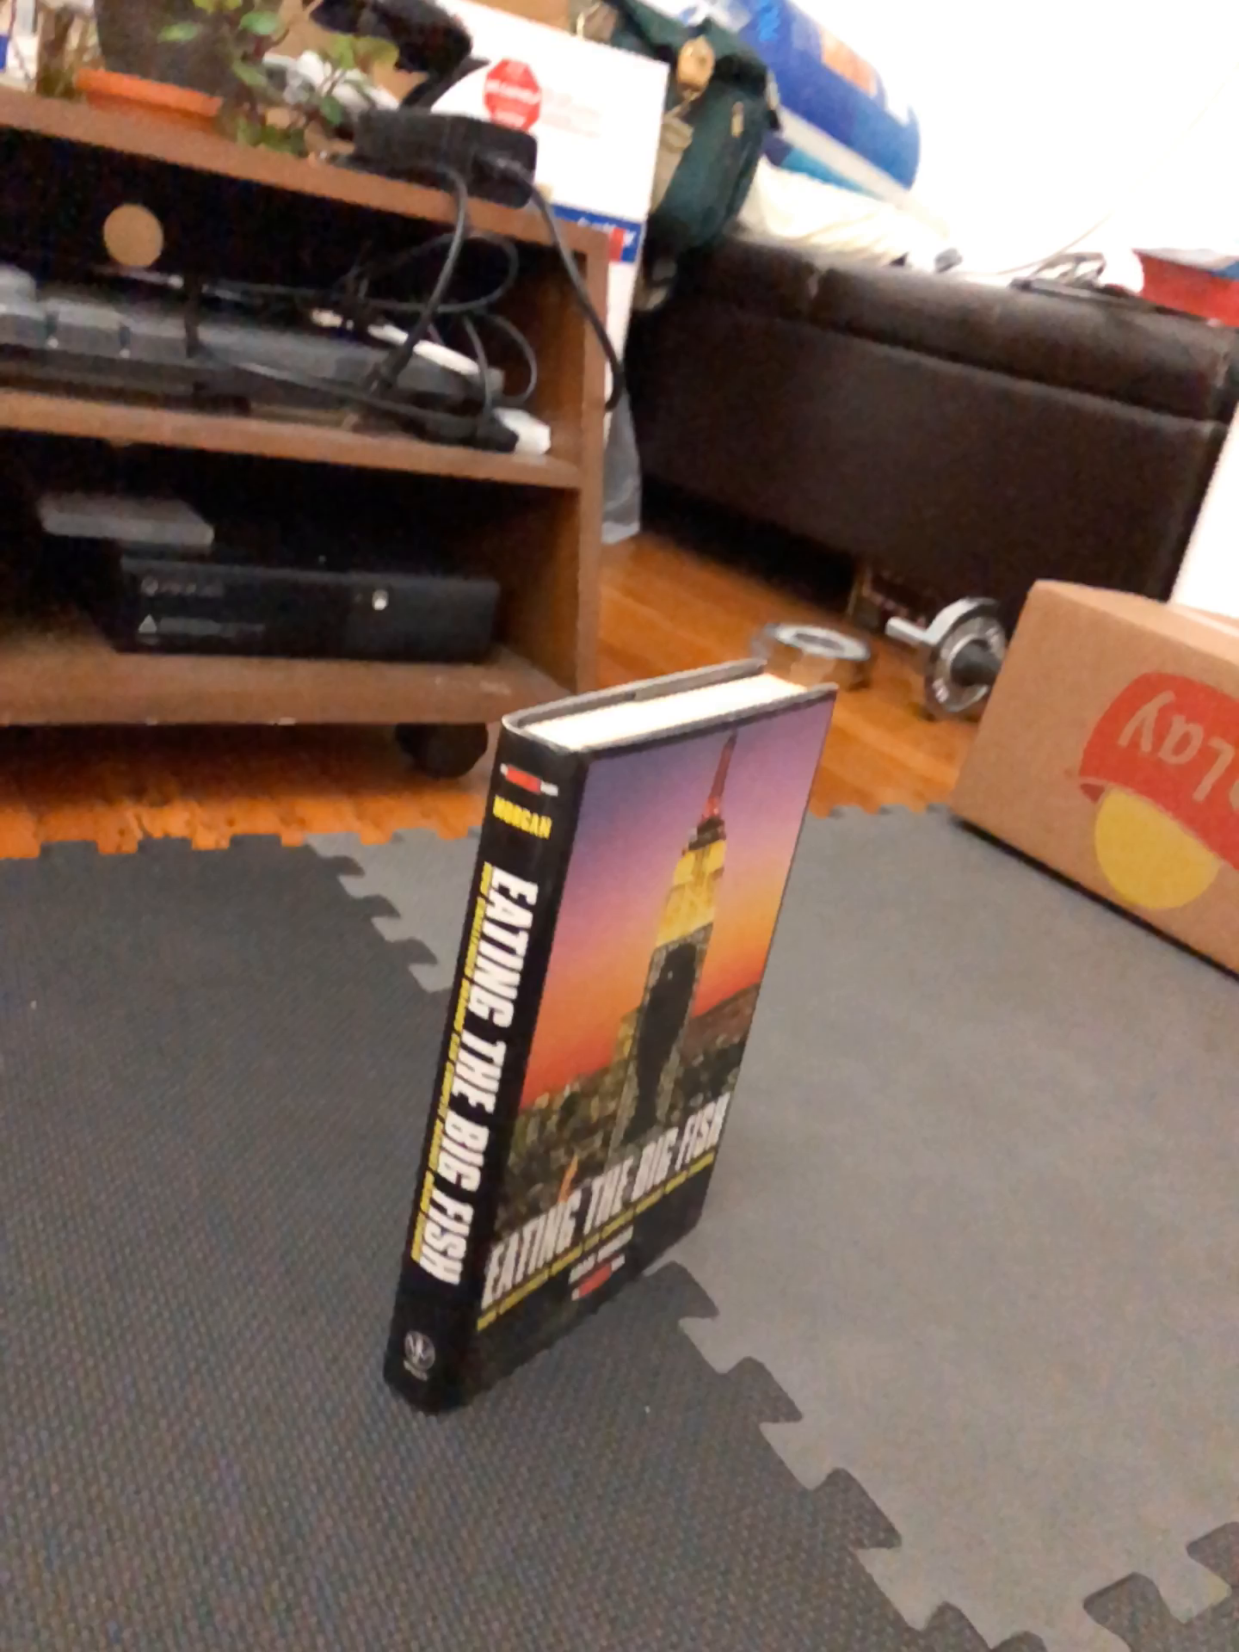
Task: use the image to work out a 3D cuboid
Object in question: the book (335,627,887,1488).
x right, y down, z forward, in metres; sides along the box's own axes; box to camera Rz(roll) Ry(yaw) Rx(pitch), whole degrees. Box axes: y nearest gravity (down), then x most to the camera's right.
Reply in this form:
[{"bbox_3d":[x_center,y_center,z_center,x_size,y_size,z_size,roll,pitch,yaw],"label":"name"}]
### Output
[{"bbox_3d":[0.000,0.071,0.482,0.050,0.259,0.181,25,25,27],"label":"book"}]
